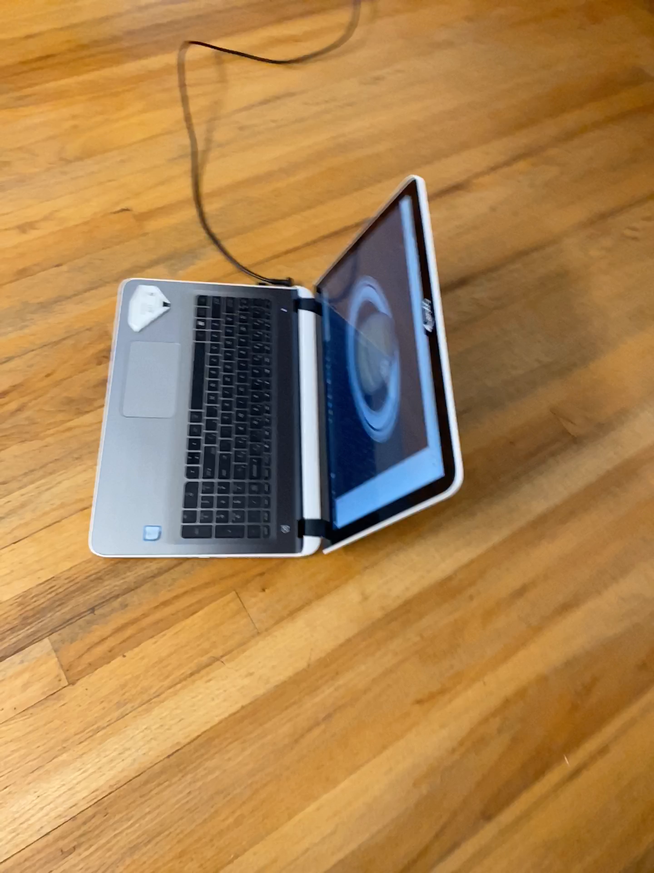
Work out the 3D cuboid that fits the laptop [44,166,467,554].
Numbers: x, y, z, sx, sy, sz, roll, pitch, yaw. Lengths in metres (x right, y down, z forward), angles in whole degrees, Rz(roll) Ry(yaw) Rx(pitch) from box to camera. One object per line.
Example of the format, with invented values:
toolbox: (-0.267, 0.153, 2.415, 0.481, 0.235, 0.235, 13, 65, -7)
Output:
laptop: (-0.076, -0.079, 0.746, 0.363, 0.202, 0.372, 1, 64, -6)
